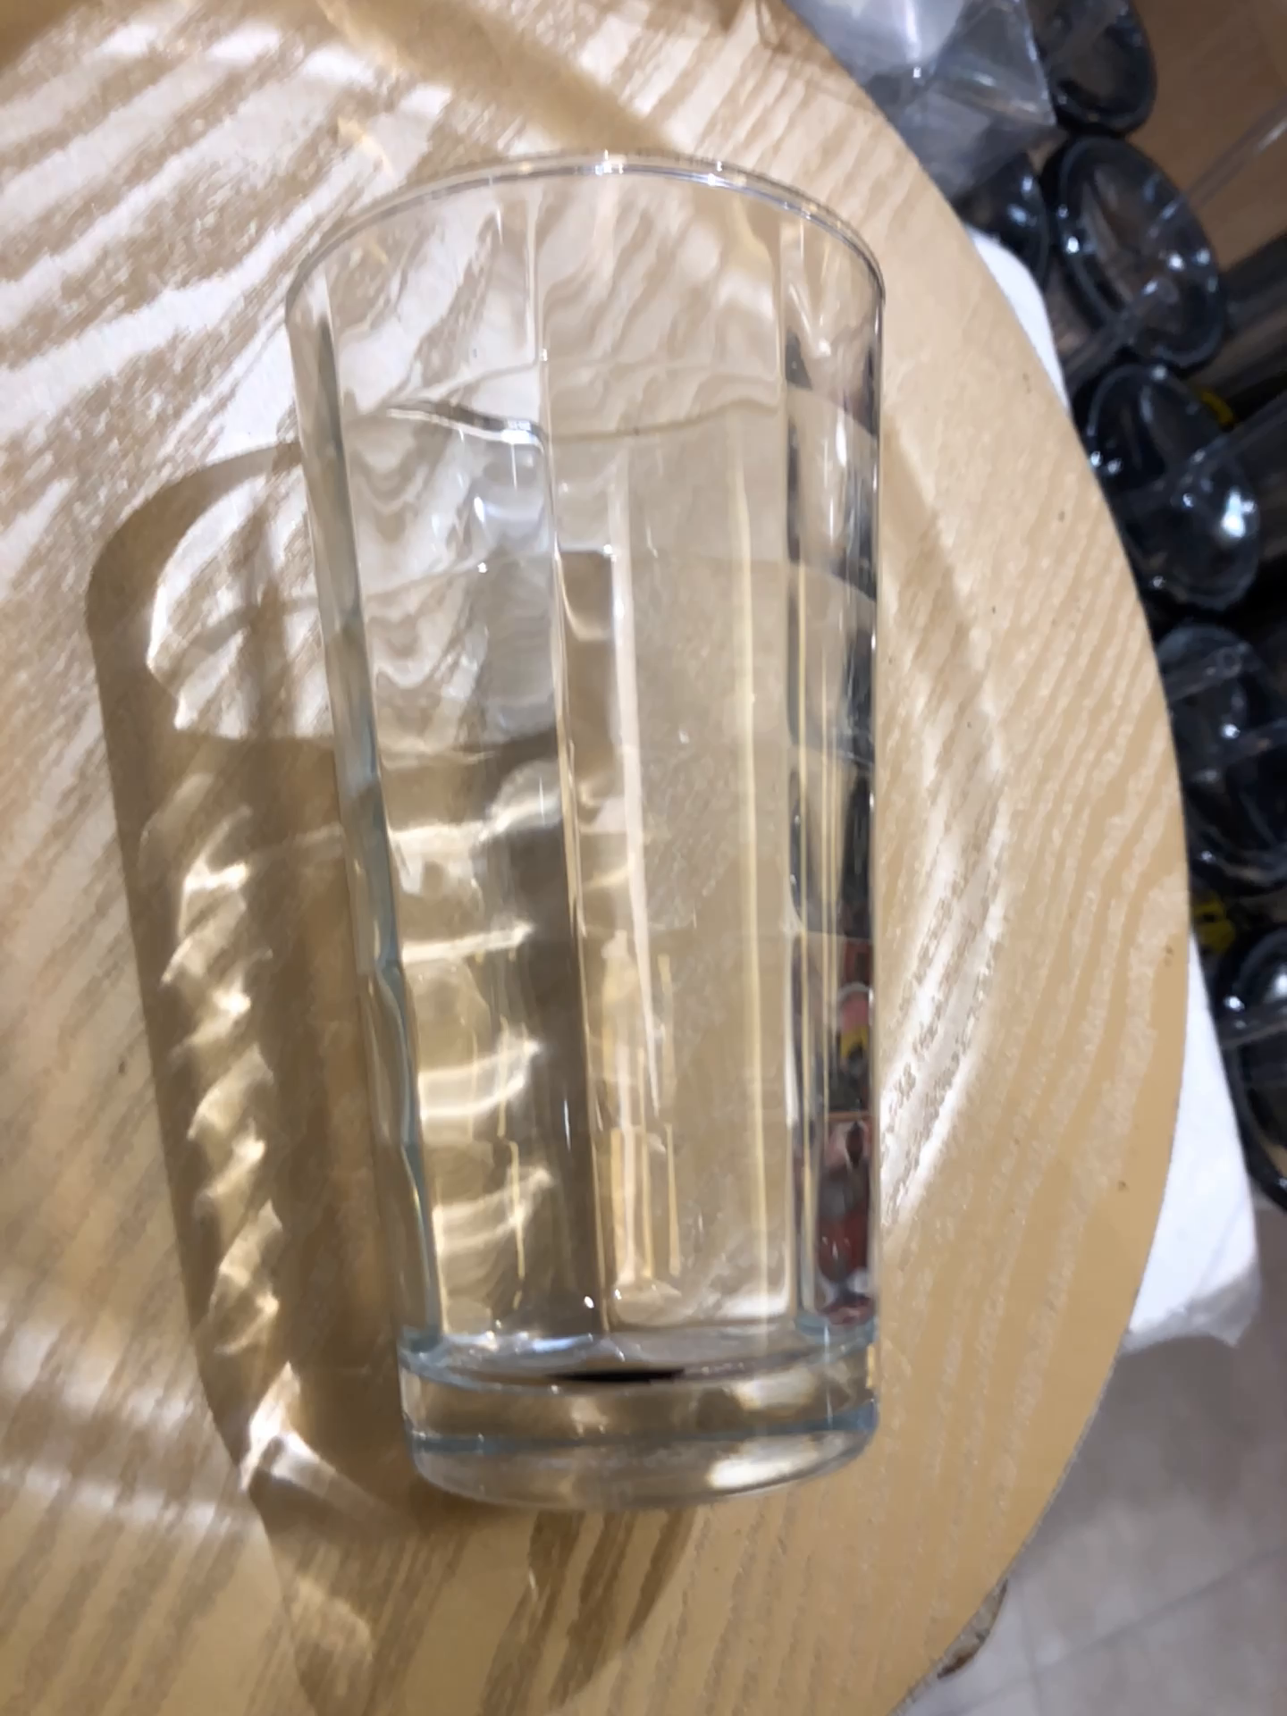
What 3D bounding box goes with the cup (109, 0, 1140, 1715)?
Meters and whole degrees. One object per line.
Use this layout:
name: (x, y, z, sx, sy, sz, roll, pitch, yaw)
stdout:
cup: (-0.011, -0.010, 0.187, 0.090, 0.080, 0.180, 2, 77, -34)
